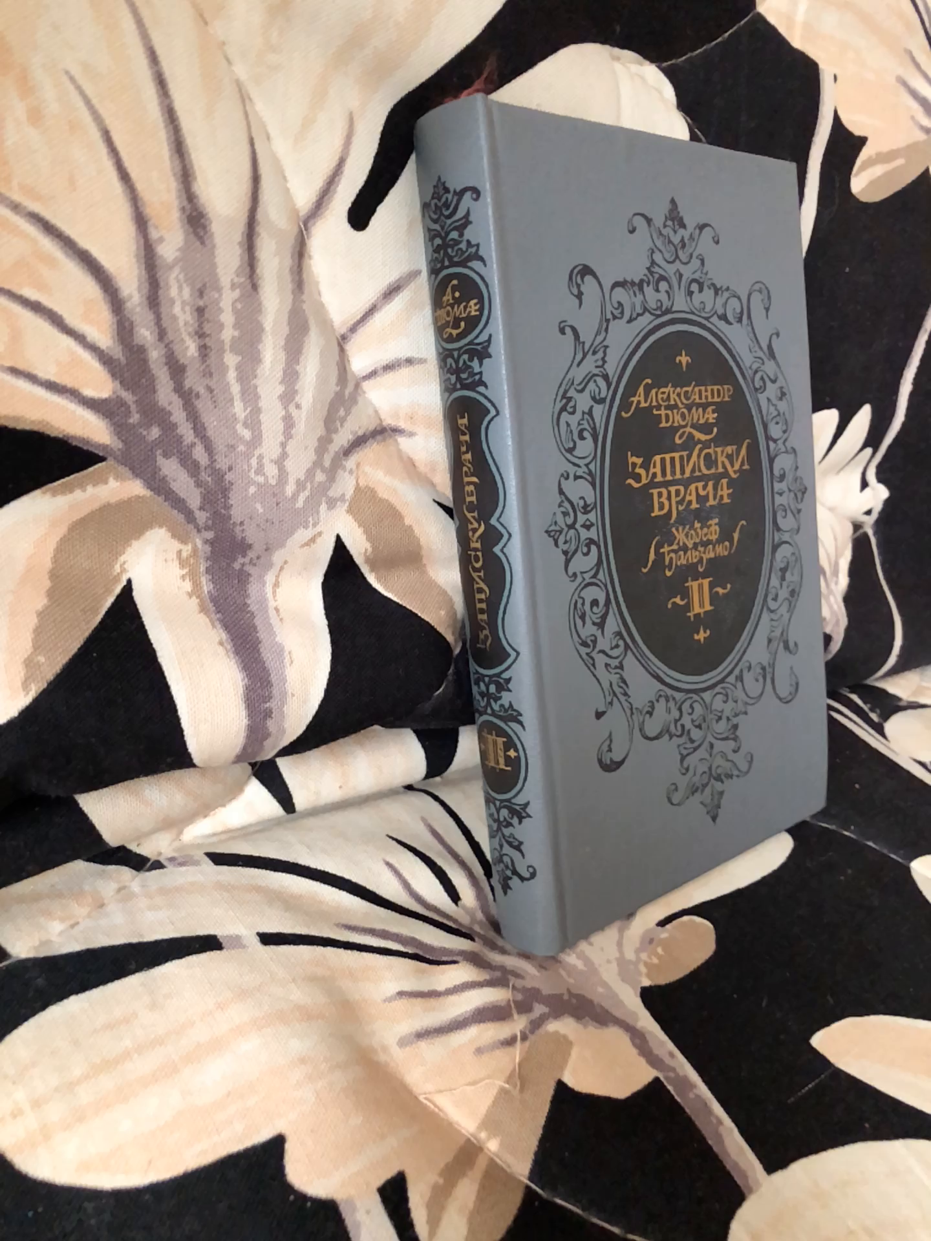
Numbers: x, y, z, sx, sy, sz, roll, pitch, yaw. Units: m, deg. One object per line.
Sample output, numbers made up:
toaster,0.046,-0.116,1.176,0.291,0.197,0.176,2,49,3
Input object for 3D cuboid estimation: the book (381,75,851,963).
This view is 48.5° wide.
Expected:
book,0.054,-0.030,0.296,0.141,0.030,0.206,-13,100,-39
